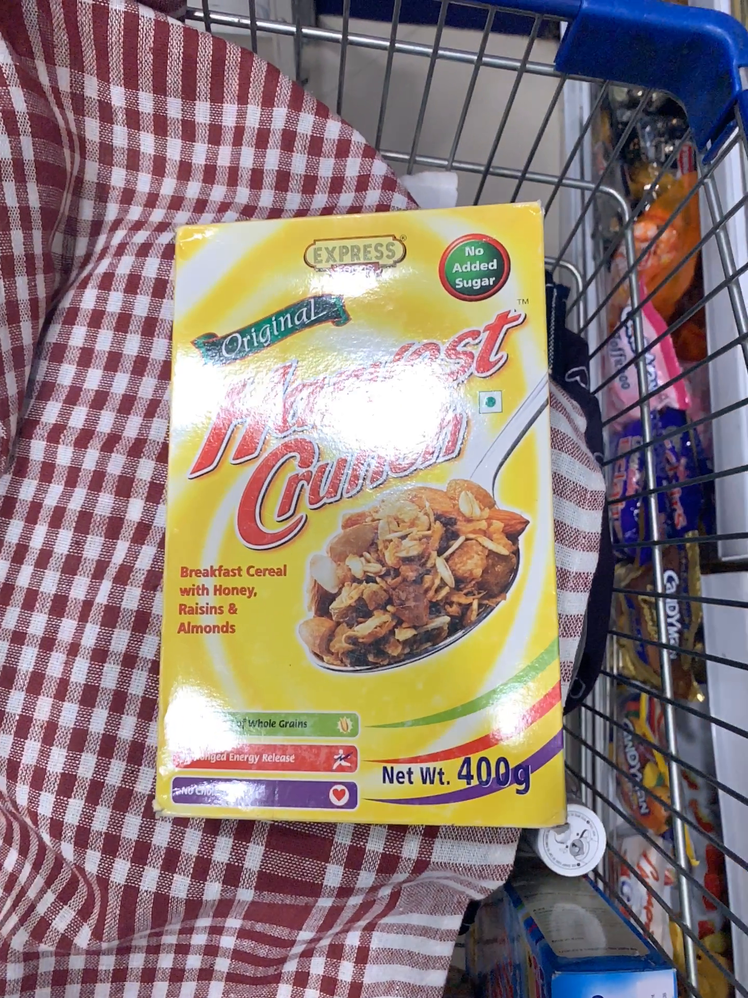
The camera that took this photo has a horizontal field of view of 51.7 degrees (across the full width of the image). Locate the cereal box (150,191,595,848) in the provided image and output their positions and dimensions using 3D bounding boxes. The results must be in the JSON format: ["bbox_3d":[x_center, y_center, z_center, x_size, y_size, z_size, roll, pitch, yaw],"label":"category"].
[{"bbox_3d":[0.000,0.006,0.294,0.150,0.050,0.220,-1,84,9],"label":"cereal box"}]
